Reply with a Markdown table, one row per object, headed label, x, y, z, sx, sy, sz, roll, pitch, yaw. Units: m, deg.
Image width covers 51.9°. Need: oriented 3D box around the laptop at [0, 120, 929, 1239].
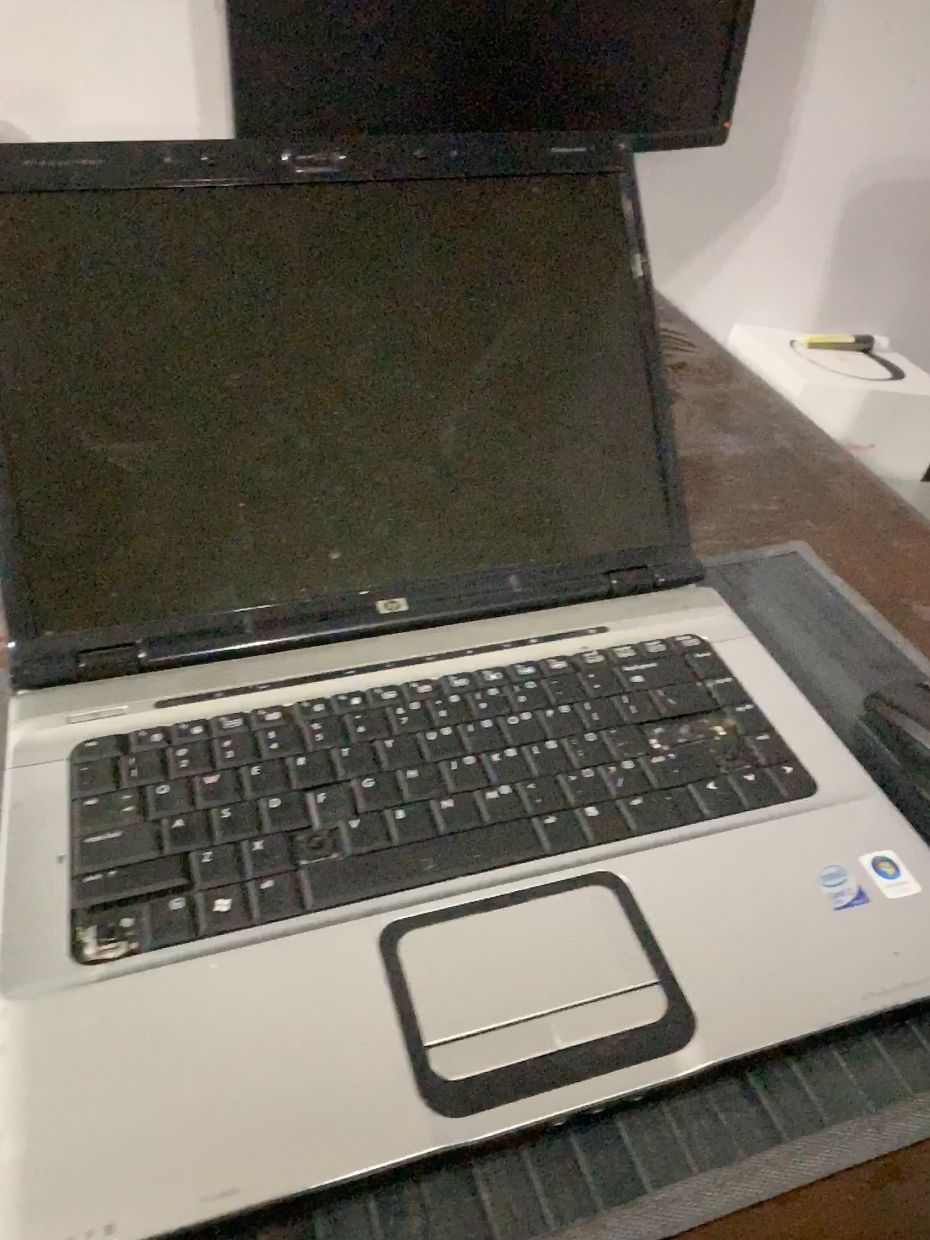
| label | x | y | z | sx | sy | sz | roll | pitch | yaw |
| --- | --- | --- | --- | --- | --- | --- | --- | --- | --- |
| laptop | -0.025 | -0.051 | 0.390 | 0.349 | 0.186 | 0.404 | -9 | 41 | -16 |
